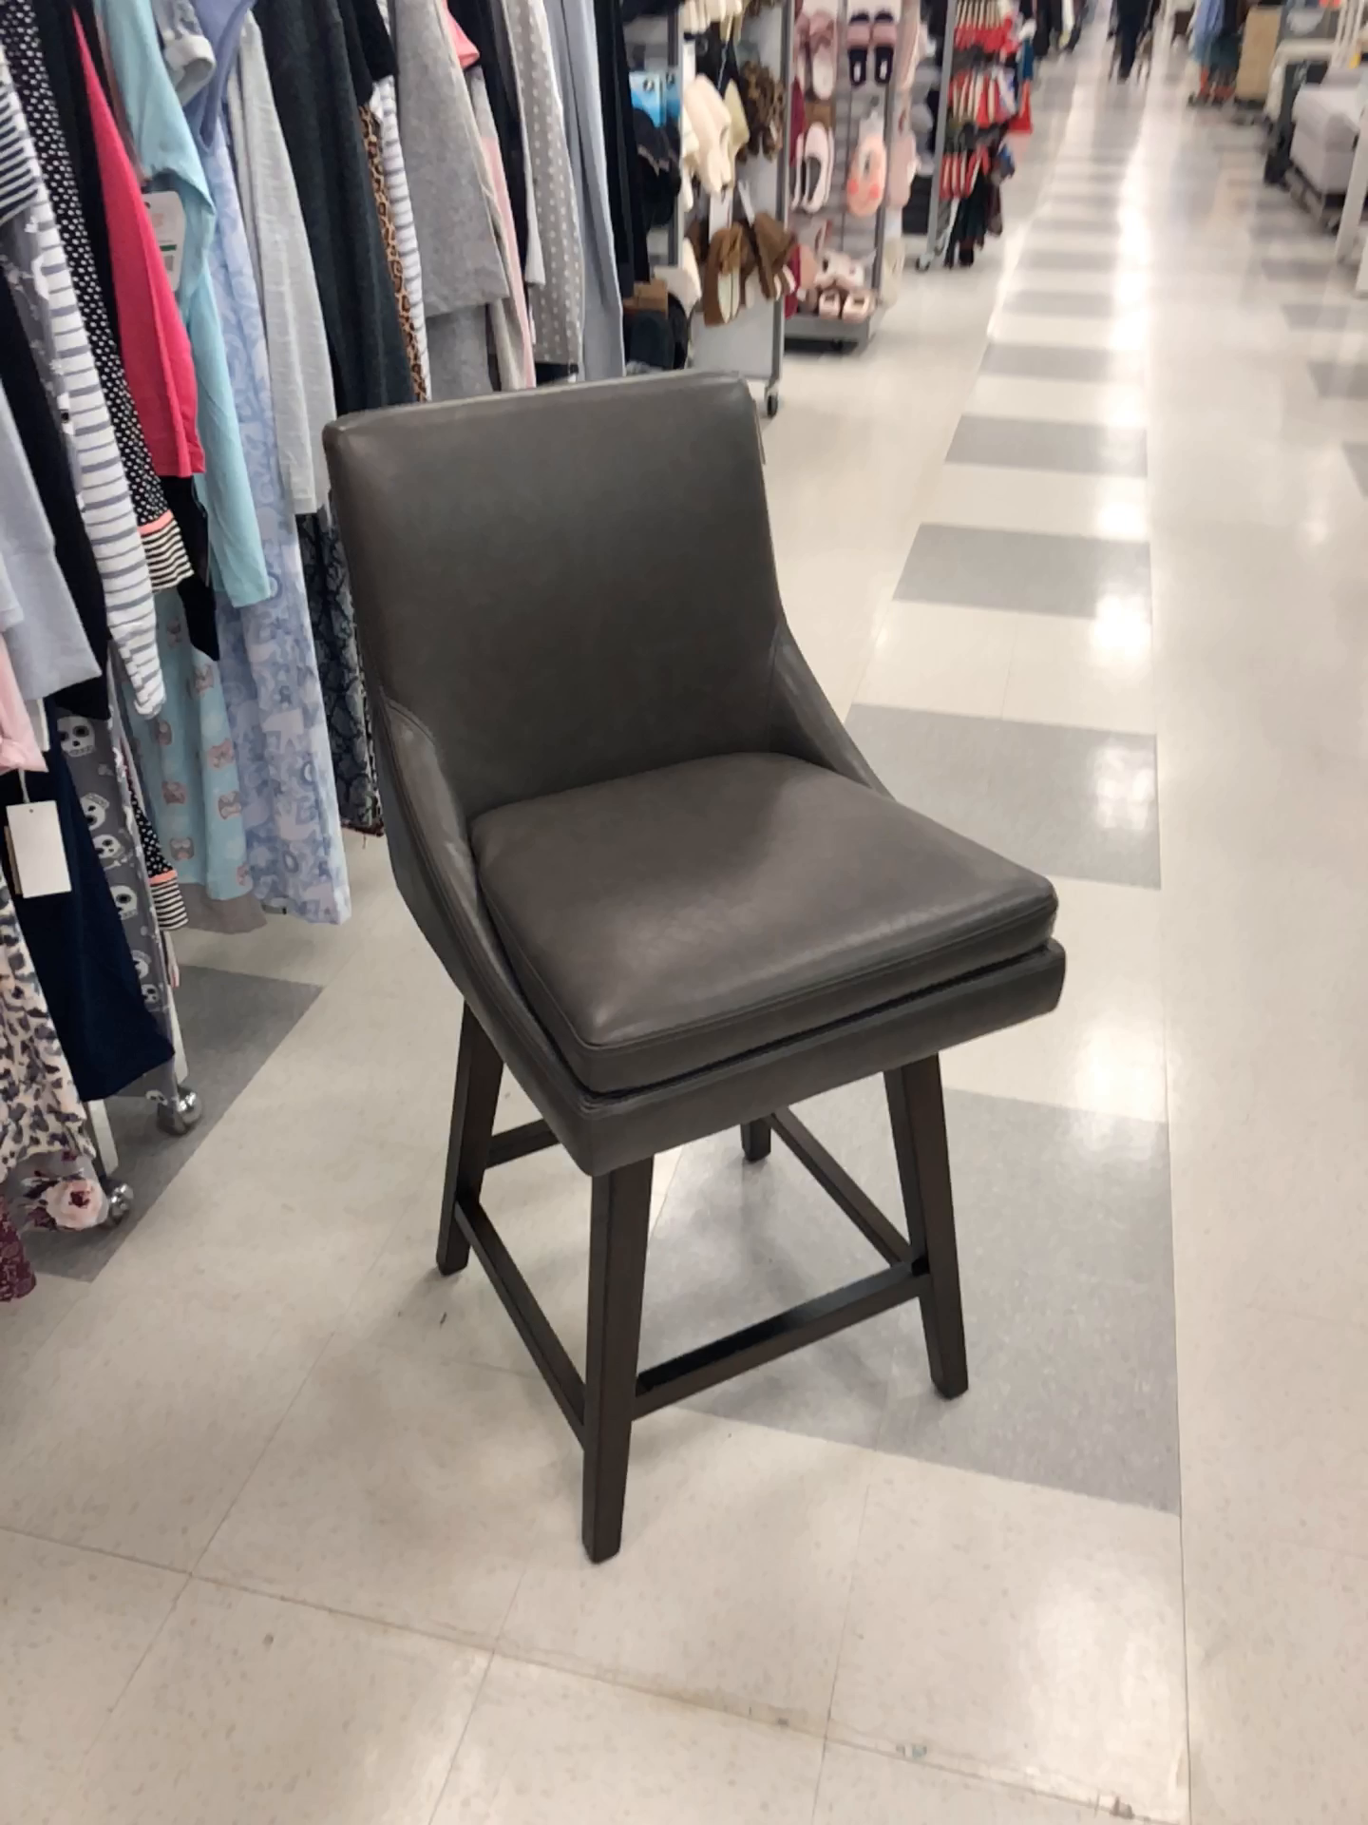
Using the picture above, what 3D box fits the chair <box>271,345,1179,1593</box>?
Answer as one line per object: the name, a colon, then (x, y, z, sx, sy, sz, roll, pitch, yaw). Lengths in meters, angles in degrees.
chair: (-0.006, 0.022, 1.420, 0.492, 0.918, 0.581, -16, 35, -25)
